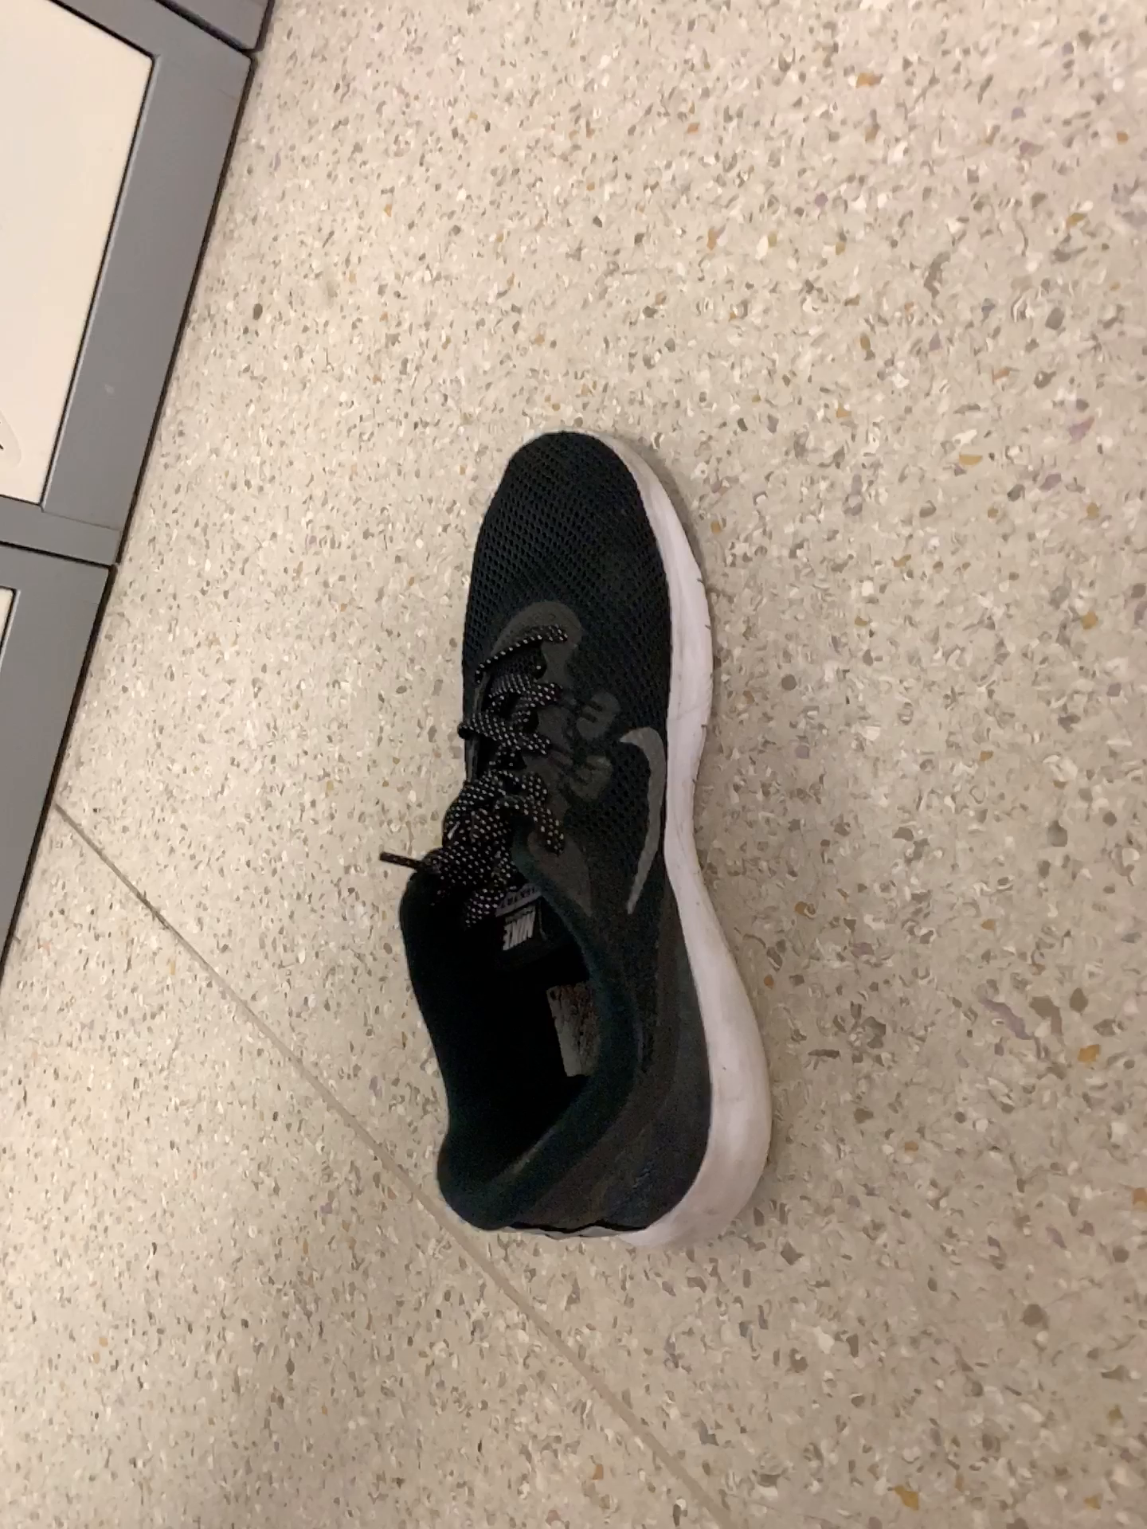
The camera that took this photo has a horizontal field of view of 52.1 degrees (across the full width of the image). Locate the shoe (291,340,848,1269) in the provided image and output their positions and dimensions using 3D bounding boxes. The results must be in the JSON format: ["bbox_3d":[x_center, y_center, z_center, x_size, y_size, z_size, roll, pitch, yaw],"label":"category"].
[{"bbox_3d":[-0.011,0.017,0.378,0.114,0.093,0.253,-22,68,38],"label":"shoe"}]
